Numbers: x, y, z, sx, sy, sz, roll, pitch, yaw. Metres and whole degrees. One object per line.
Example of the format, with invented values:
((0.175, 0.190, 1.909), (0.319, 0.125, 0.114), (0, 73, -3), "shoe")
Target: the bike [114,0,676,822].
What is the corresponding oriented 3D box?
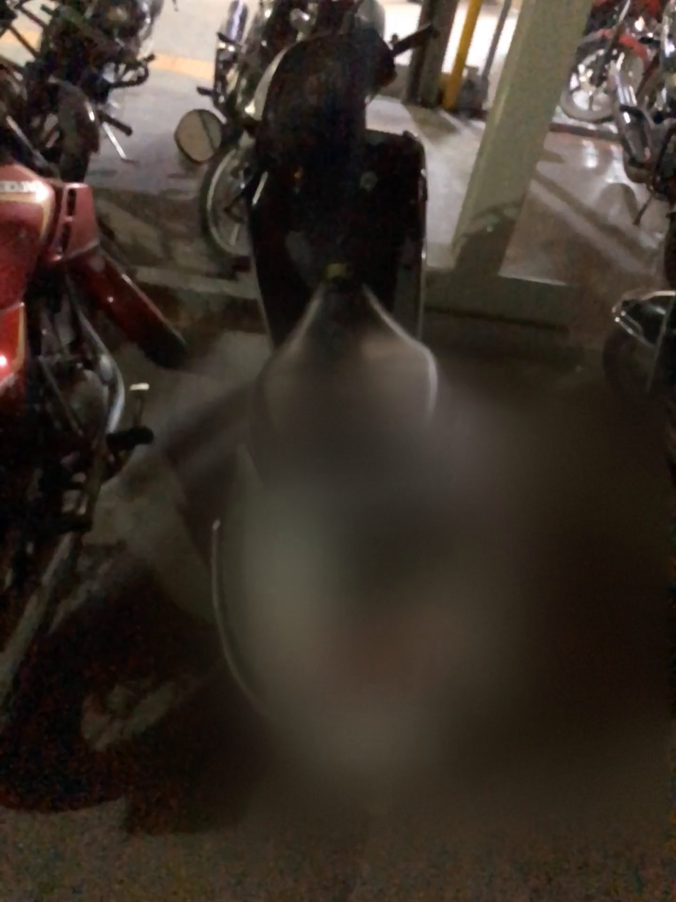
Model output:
((-0.031, -0.154, 1.599), (0.602, 1.094, 1.388), (5, 42, -9), "bike")
